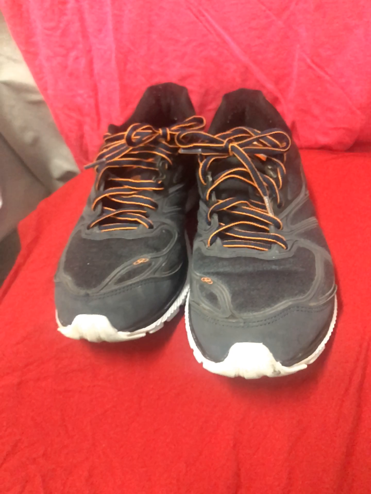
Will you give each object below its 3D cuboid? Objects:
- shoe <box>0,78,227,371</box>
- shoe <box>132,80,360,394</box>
[{"bbox_3d":[-0.041,-0.048,0.352,0.110,0.089,0.282,3,41,14],"label":"shoe"},{"bbox_3d":[0.046,-0.036,0.340,0.110,0.099,0.282,-2,40,8],"label":"shoe"}]
